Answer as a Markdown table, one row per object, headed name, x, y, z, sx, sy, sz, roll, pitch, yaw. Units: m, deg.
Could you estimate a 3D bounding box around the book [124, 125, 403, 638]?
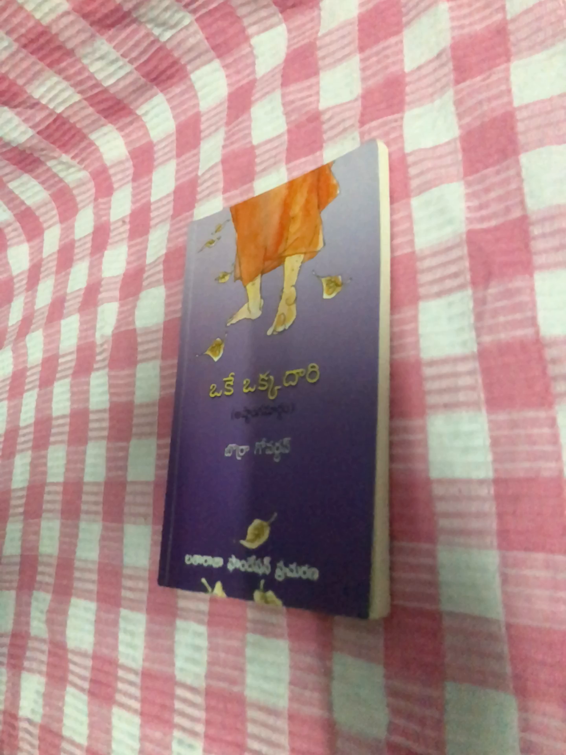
| name | x | y | z | sx | sy | sz | roll | pitch | yaw |
| --- | --- | --- | --- | --- | --- | --- | --- | --- | --- |
| book | -0.014 | 0.002 | 0.304 | 0.150 | 0.020 | 0.210 | -8 | 73 | 41 |
